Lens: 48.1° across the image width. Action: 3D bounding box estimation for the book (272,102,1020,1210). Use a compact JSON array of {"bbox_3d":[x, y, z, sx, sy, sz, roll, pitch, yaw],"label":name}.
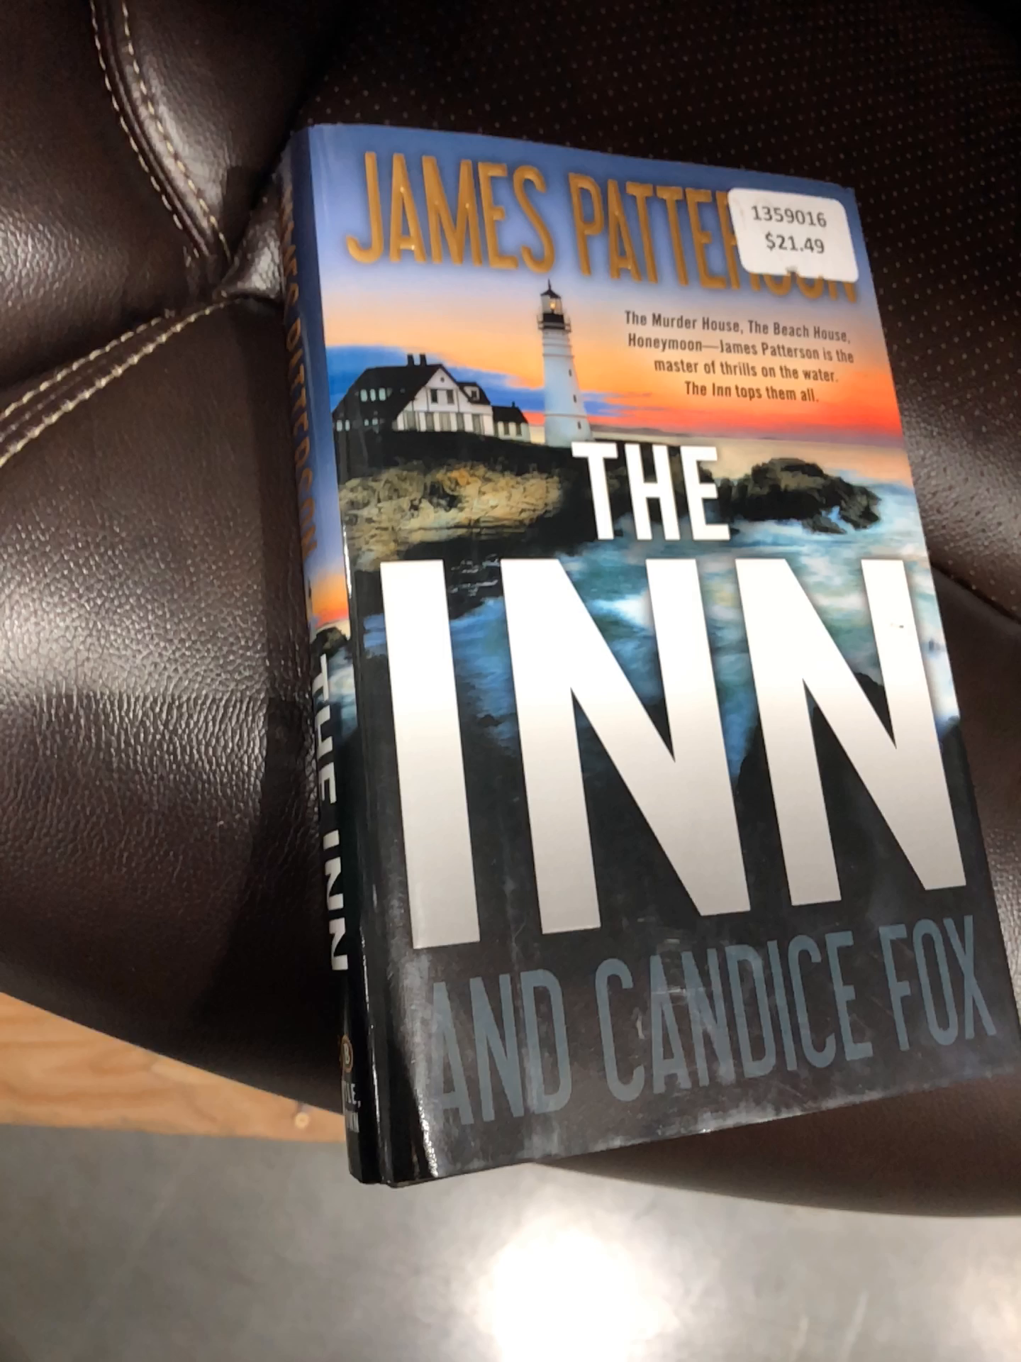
[{"bbox_3d":[0.034,-0.017,0.294,0.170,0.040,0.250,-2,77,-18],"label":"book"}]
